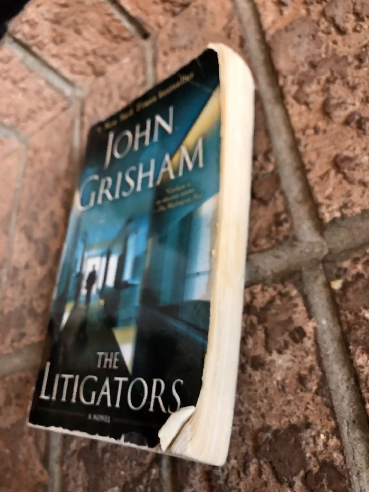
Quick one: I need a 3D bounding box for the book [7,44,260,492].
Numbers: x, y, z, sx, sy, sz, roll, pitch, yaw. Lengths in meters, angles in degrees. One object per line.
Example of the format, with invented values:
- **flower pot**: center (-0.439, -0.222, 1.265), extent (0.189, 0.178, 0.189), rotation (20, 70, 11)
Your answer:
- **book**: center (-0.029, 0.008, 0.236), extent (0.136, 0.033, 0.199), rotation (-12, 63, 42)
